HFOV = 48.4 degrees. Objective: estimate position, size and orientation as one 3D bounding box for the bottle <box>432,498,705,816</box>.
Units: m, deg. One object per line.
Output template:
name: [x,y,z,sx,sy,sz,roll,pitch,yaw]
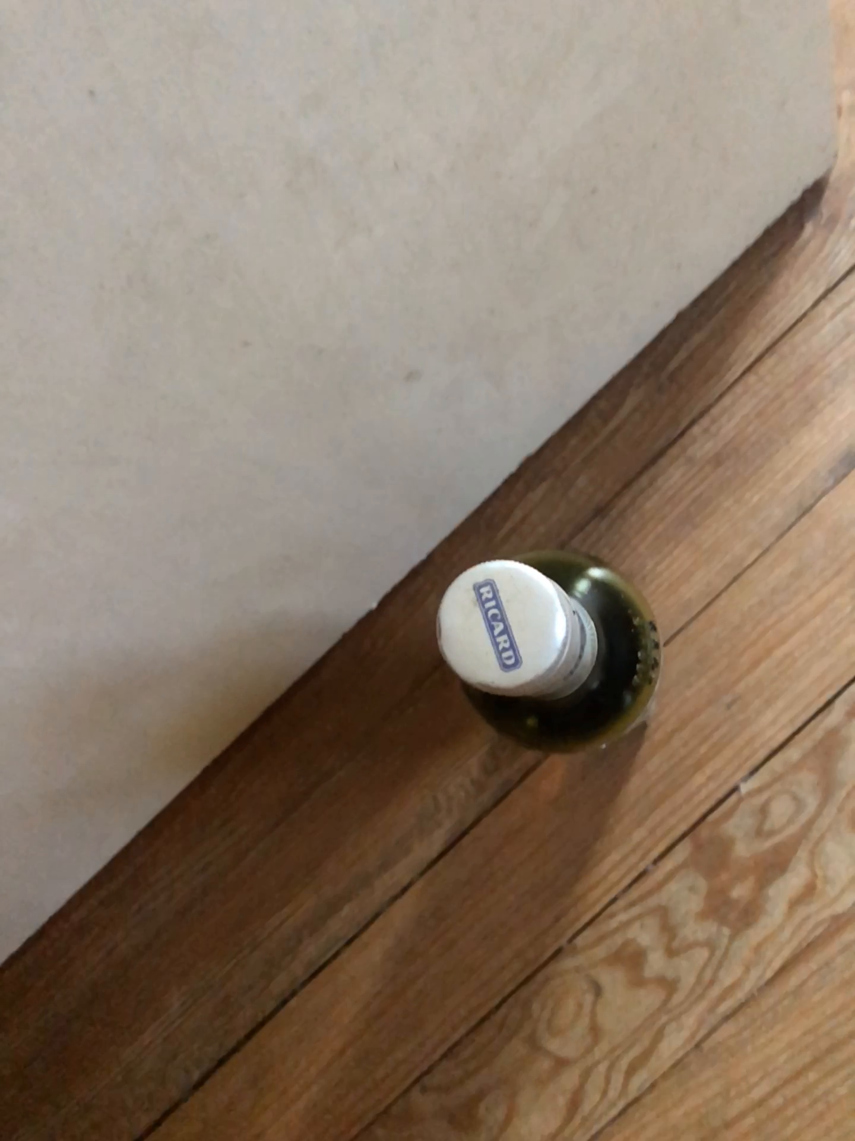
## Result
bottle: [0.061,0.038,0.342,0.060,0.260,0.070,-2,81,14]
